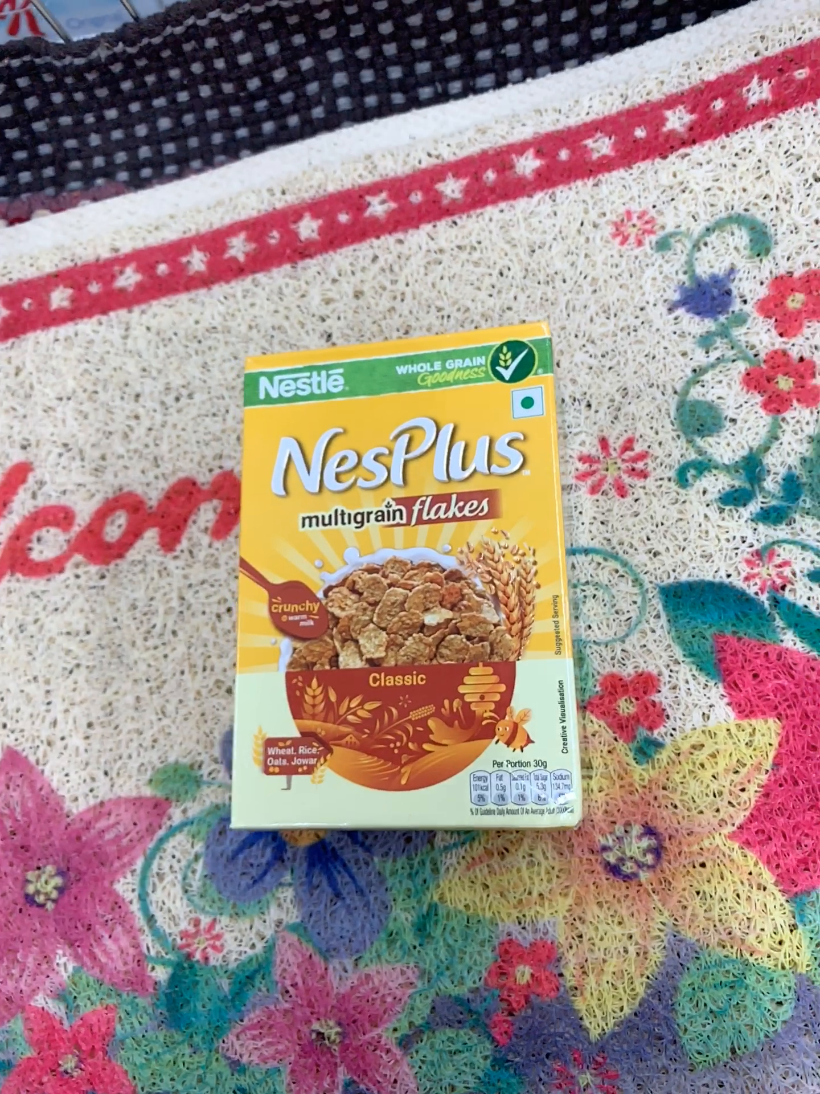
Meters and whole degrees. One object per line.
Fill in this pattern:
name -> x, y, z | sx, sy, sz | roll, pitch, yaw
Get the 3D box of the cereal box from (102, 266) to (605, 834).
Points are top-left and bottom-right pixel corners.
cereal box -> -0.016, 0.004, 0.252 | 0.130, 0.040, 0.150 | -5, 74, 14
